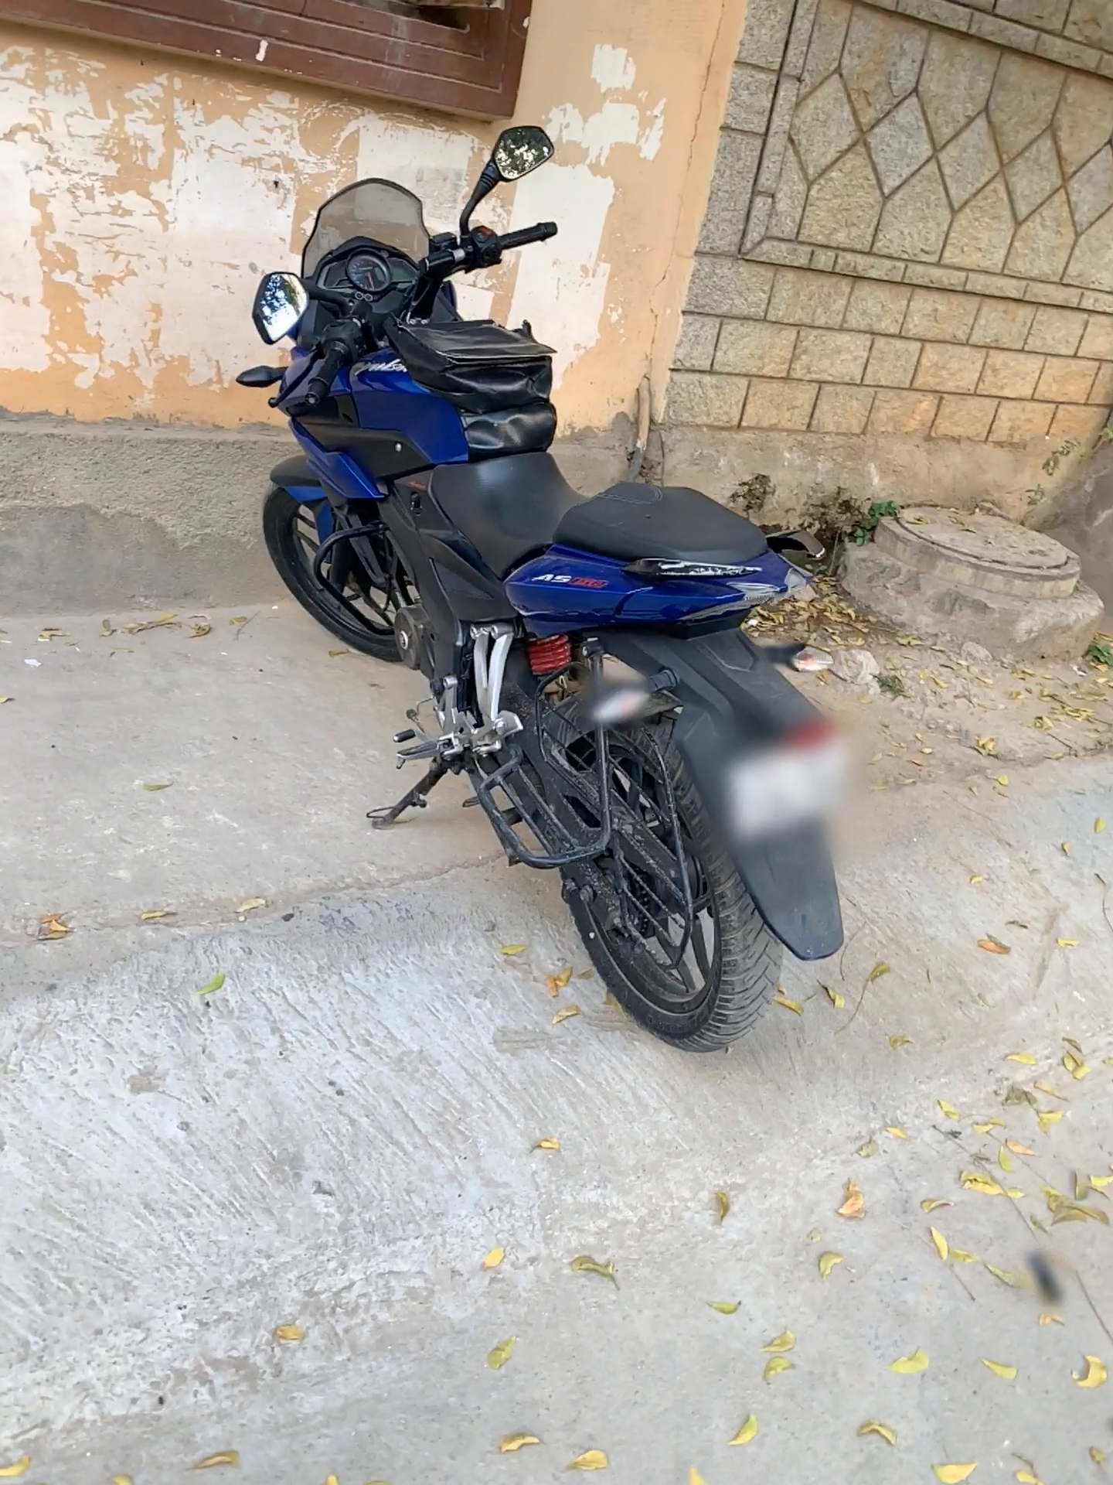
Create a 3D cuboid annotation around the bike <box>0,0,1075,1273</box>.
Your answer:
[{"bbox_3d":[-0.309,-0.366,1.898,0.954,1.219,1.571,-12,42,-37],"label":"bike"}]
